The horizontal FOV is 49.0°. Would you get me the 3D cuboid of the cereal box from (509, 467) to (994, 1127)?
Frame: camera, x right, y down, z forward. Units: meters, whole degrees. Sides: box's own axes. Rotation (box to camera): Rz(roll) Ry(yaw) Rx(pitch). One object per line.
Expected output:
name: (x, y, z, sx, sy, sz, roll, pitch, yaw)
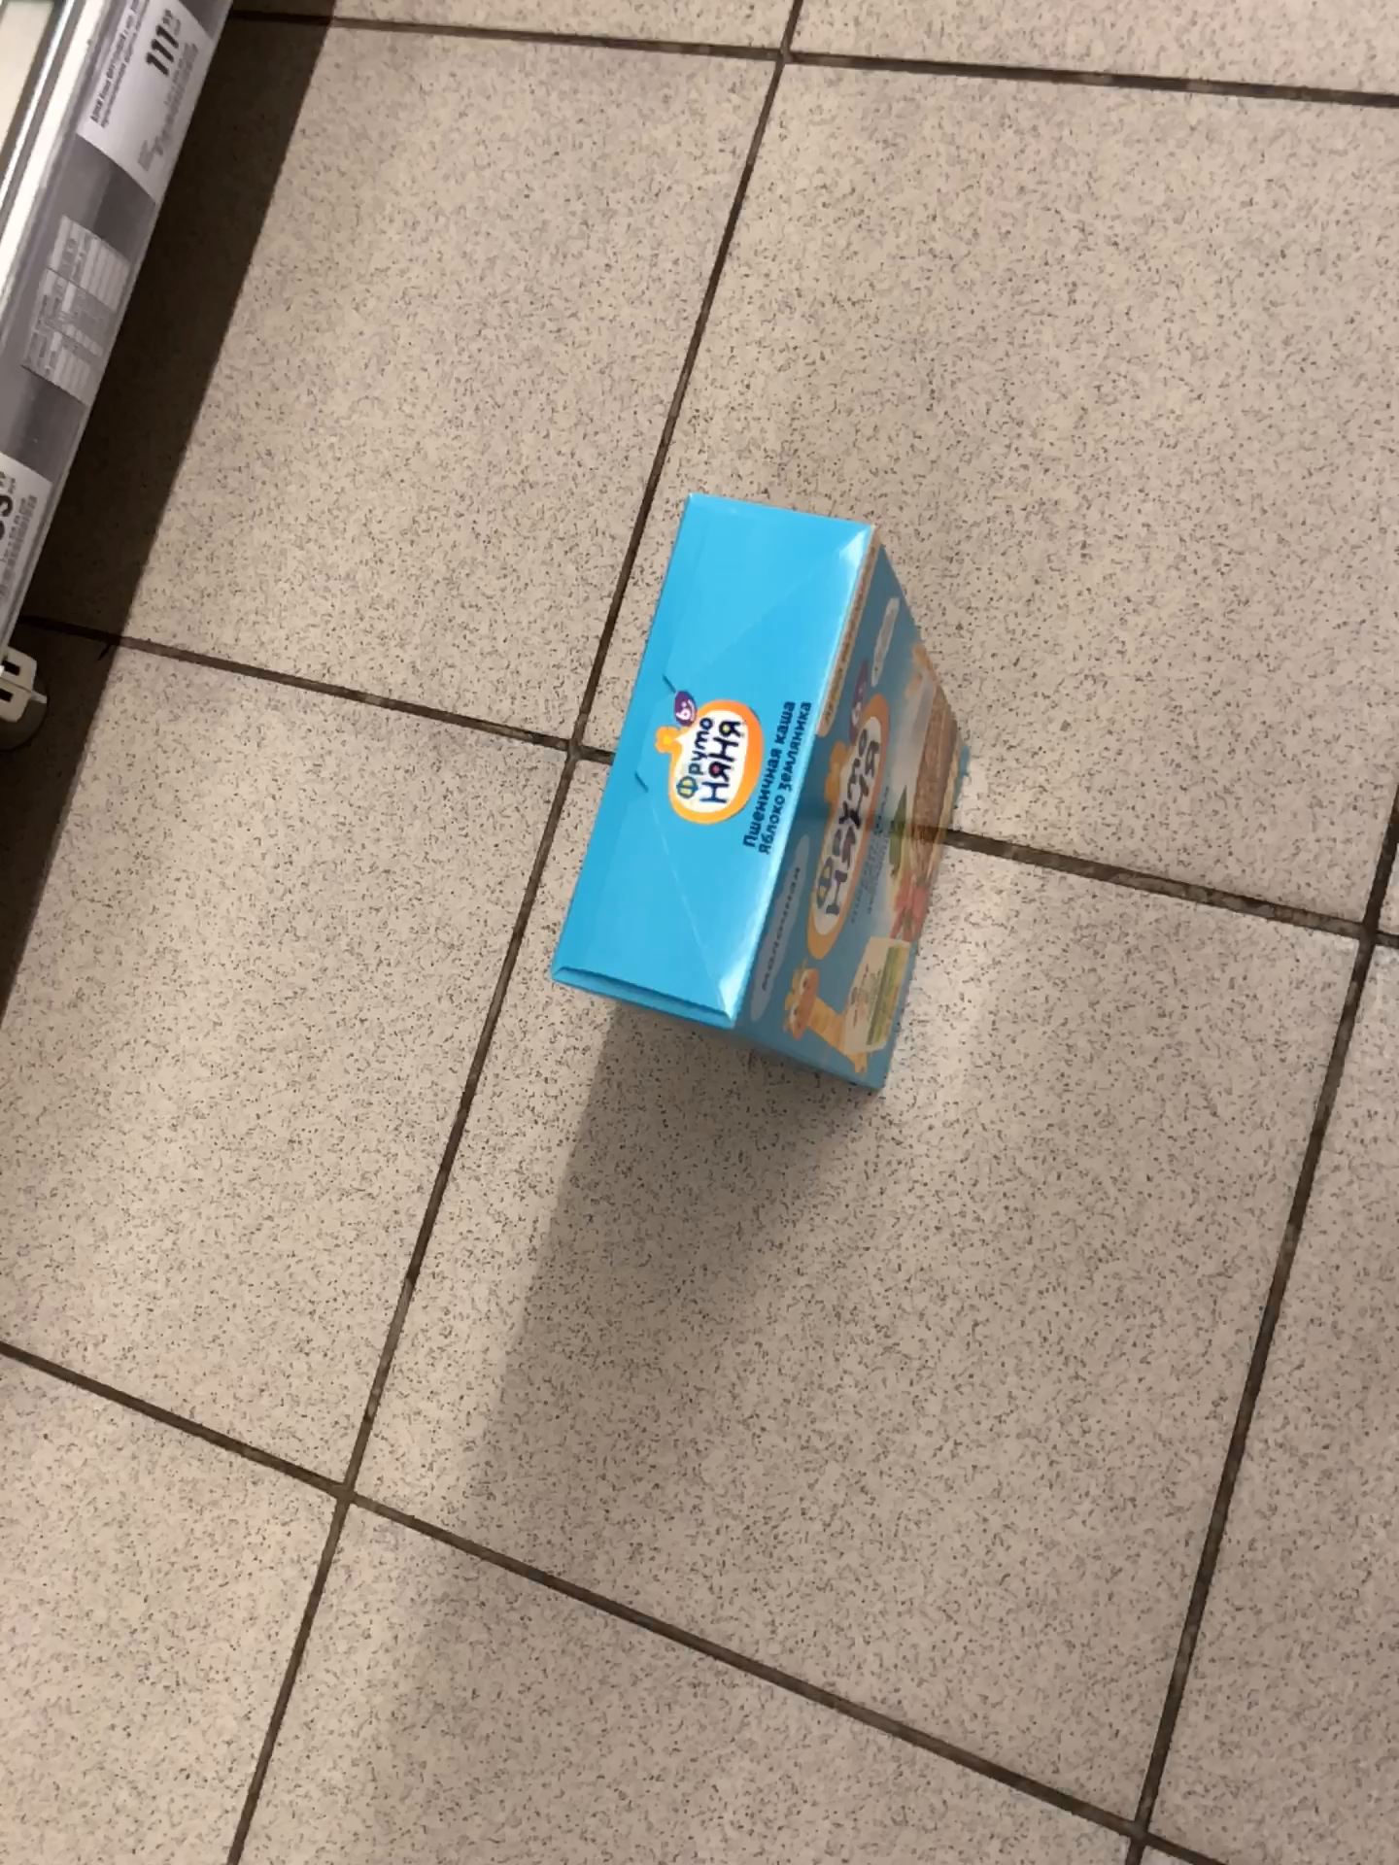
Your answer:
cereal box: (0.030, -0.023, 0.453, 0.060, 0.200, 0.140, 14, 85, 18)
